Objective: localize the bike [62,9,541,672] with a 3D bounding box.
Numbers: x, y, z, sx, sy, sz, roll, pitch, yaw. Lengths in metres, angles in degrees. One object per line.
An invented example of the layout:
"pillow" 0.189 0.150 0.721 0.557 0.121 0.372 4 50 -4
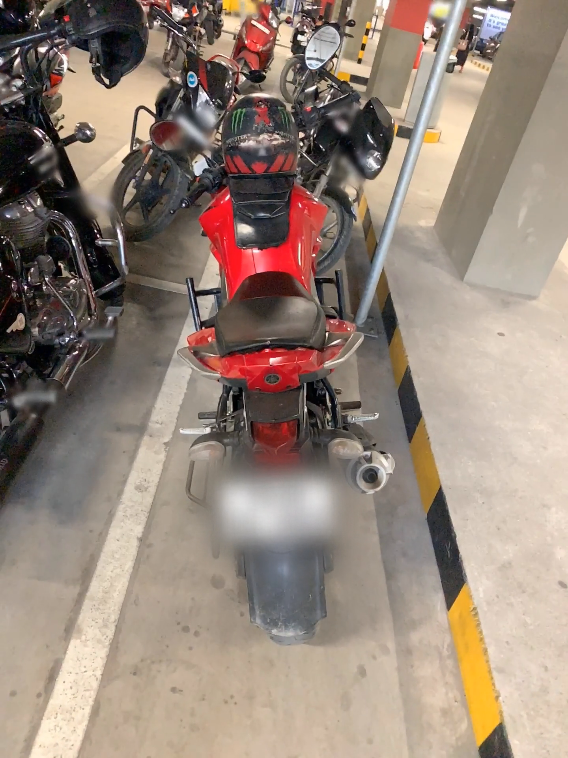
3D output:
"bike" -0.235 -0.279 1.749 0.677 1.121 1.691 3 36 -16
